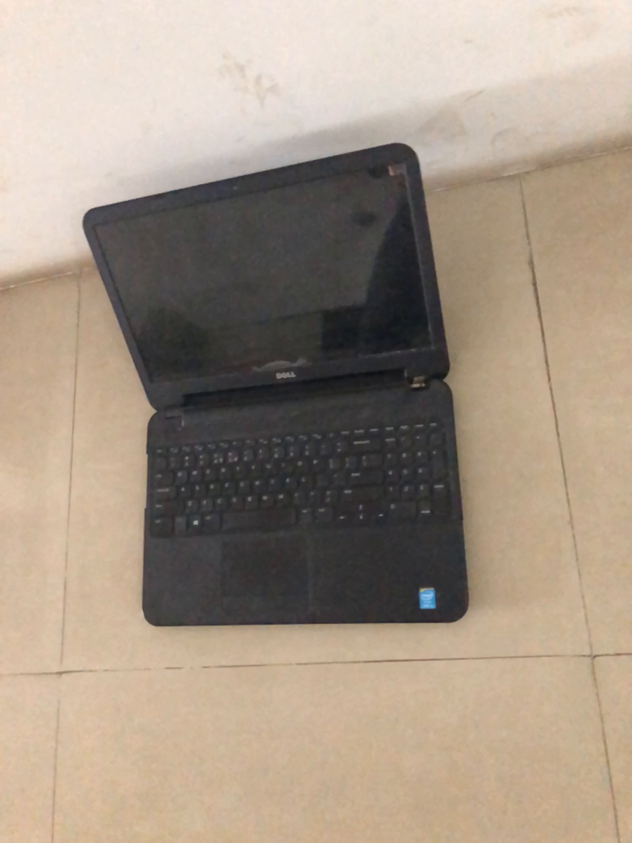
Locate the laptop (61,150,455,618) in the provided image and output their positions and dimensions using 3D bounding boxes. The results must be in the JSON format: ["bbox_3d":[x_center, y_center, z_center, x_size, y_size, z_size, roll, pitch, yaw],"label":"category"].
[{"bbox_3d":[-0.051,-0.018,0.702,0.322,0.166,0.409,-6,73,16],"label":"laptop"}]
